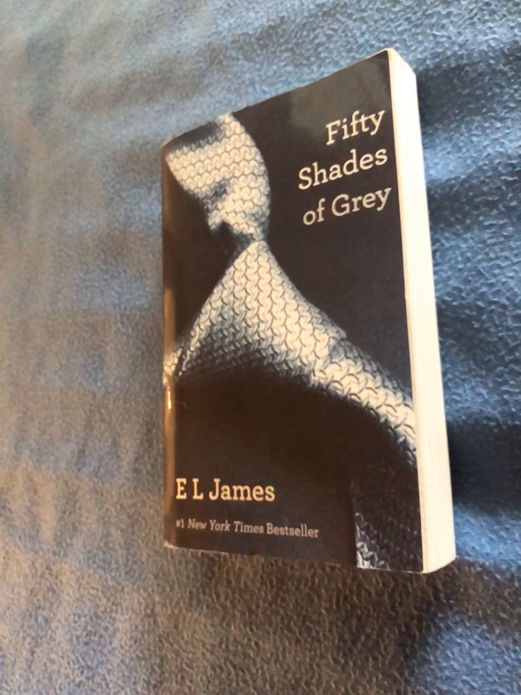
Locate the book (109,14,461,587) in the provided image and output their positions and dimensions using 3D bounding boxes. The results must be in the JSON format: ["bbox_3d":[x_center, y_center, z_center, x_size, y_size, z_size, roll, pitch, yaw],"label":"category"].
[{"bbox_3d":[0.001,-0.015,0.265,0.151,0.040,0.210,-8,76,35],"label":"book"}]
